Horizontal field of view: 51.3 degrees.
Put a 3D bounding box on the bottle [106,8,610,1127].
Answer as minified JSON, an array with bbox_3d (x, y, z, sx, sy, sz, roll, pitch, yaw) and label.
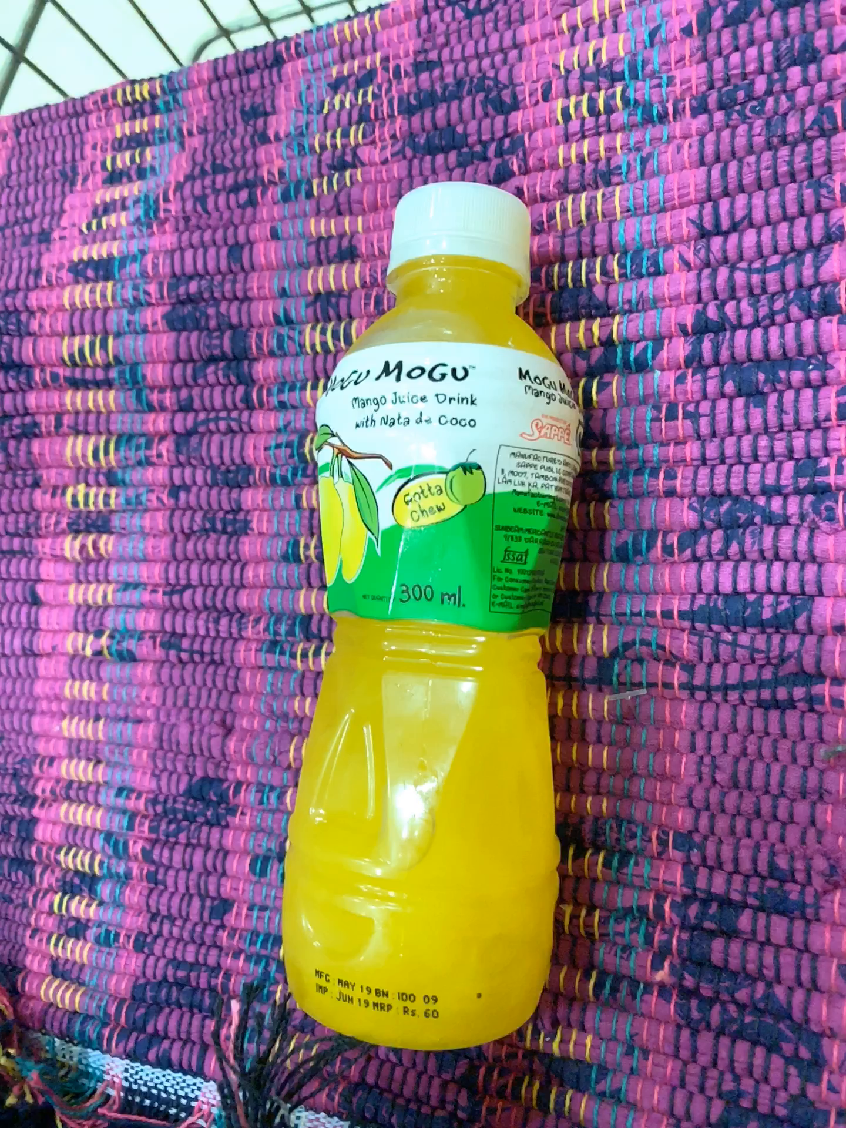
[{"bbox_3d":[-0.006,-0.001,0.164,0.060,0.060,0.160,2,85,24],"label":"bottle"}]
